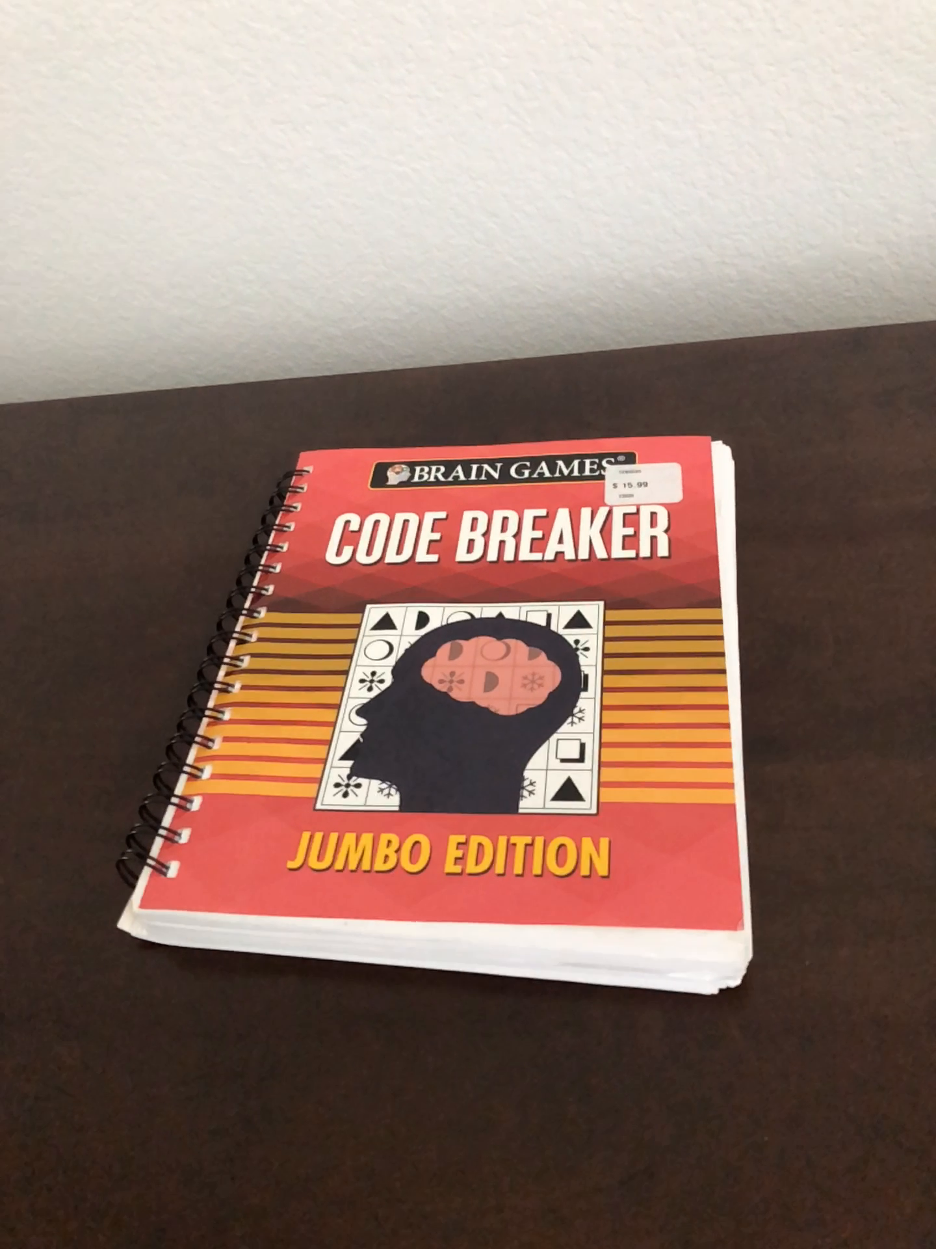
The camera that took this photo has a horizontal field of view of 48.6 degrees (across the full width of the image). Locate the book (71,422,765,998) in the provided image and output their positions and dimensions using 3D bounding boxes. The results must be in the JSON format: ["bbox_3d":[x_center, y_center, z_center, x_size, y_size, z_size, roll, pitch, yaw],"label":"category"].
[{"bbox_3d":[-0.003,0.012,0.376,0.202,0.030,0.225,0,48,12],"label":"book"}]
